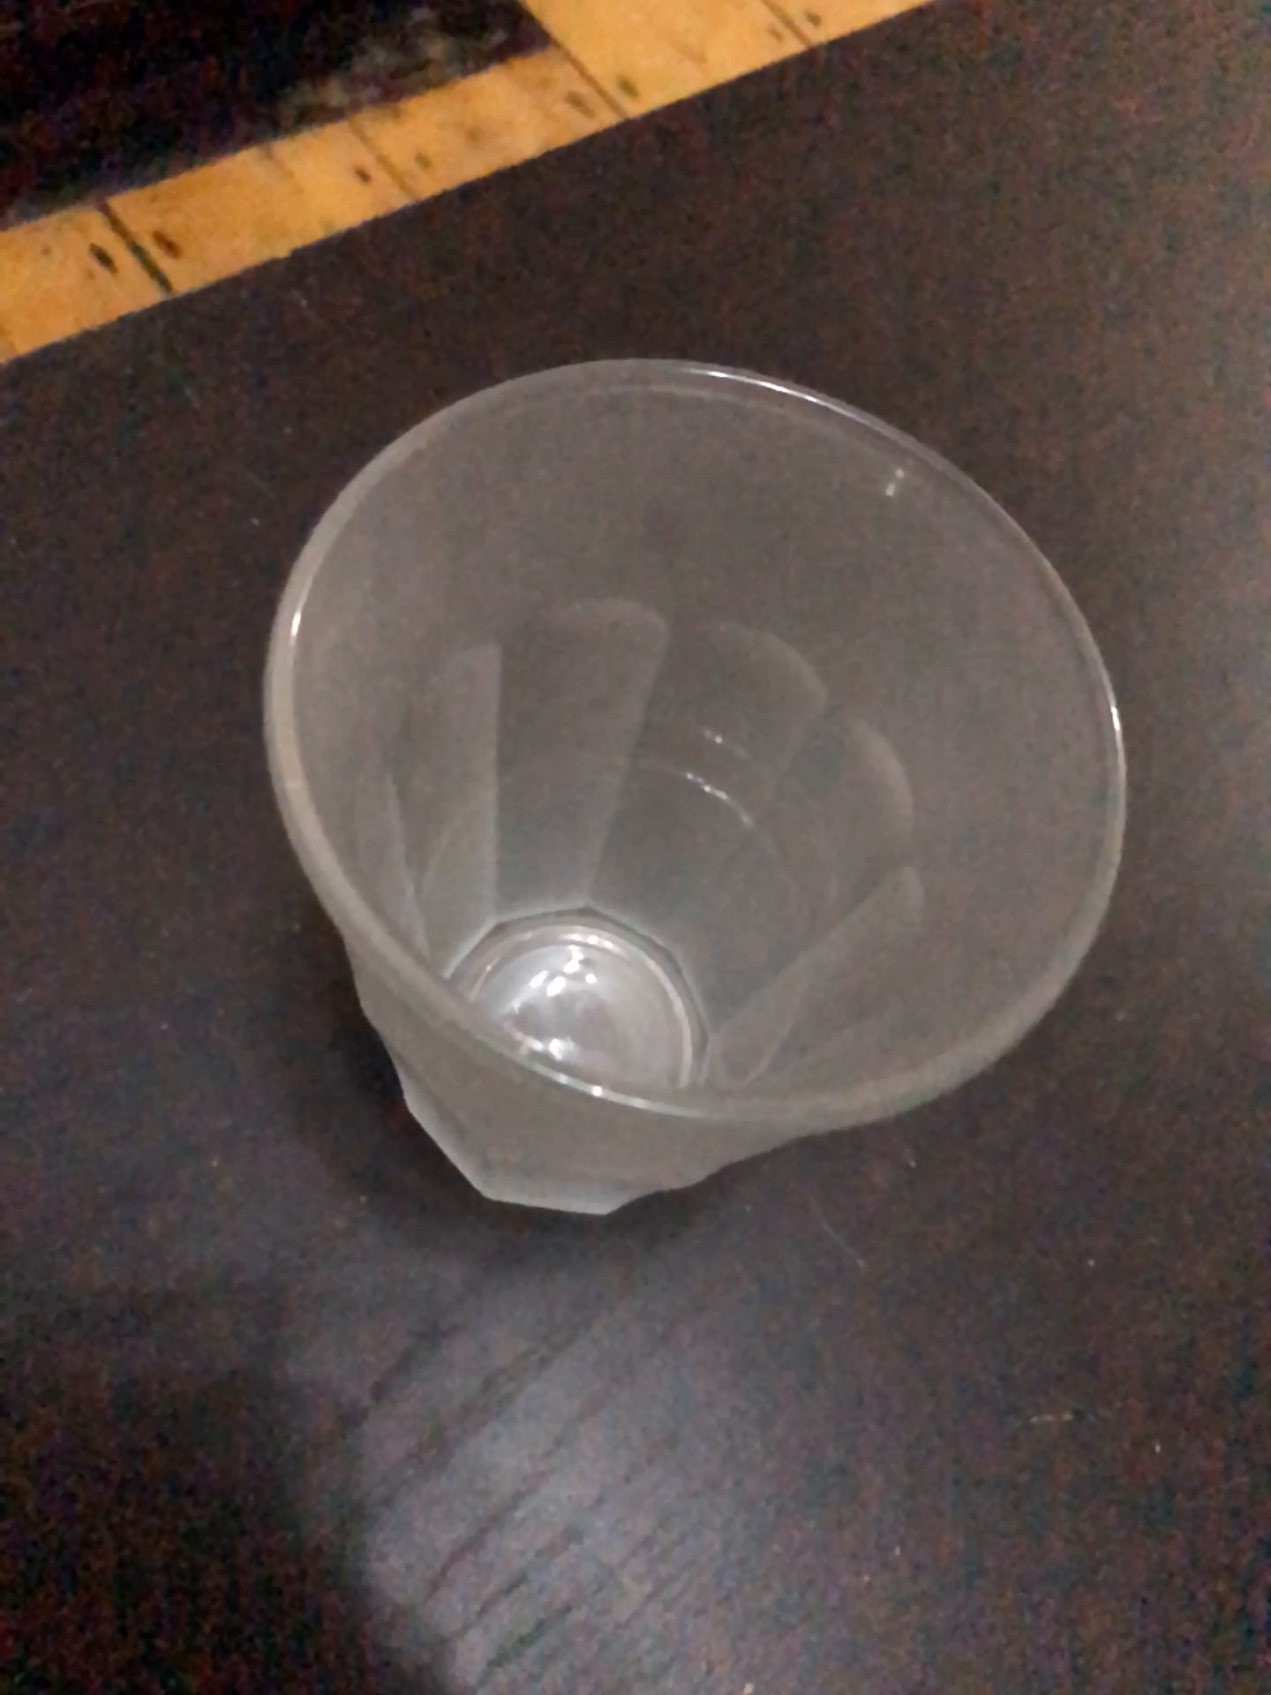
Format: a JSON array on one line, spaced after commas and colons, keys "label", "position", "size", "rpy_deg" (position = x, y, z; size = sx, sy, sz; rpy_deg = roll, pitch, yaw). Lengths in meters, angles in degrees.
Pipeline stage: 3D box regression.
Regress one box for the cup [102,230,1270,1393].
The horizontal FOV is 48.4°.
[{"label": "cup", "position": [0.003, 0.012, 0.191], "size": [0.100, 0.130, 0.090], "rpy_deg": [12, 63, -5]}]
